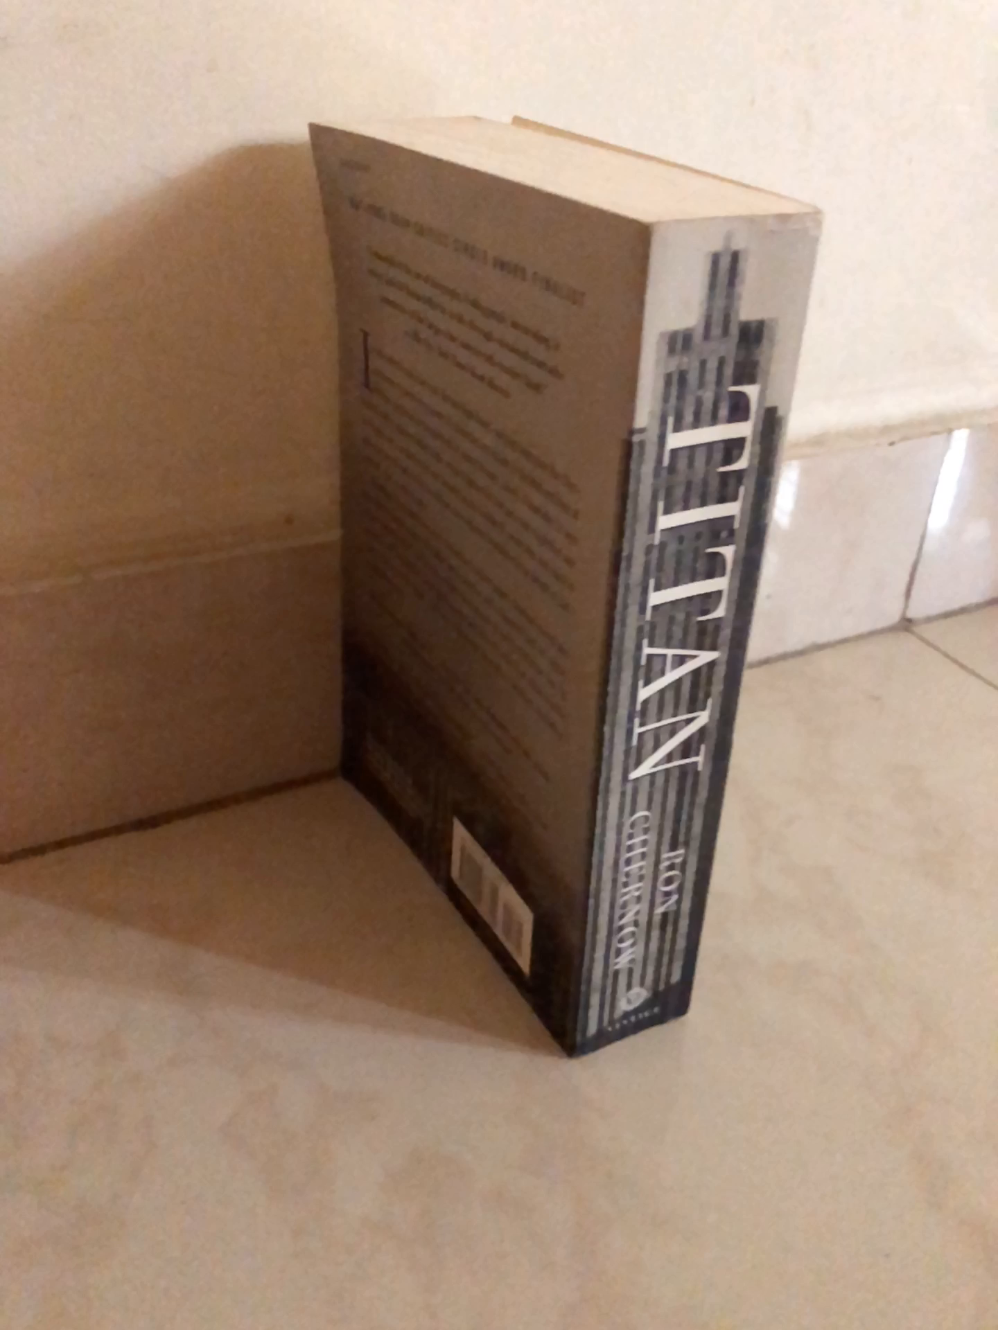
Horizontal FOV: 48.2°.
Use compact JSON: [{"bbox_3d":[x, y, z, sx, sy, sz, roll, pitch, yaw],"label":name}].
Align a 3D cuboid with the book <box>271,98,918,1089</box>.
[{"bbox_3d":[0.003,-0.034,0.337,0.060,0.229,0.201,-15,35,-26],"label":"book"}]
